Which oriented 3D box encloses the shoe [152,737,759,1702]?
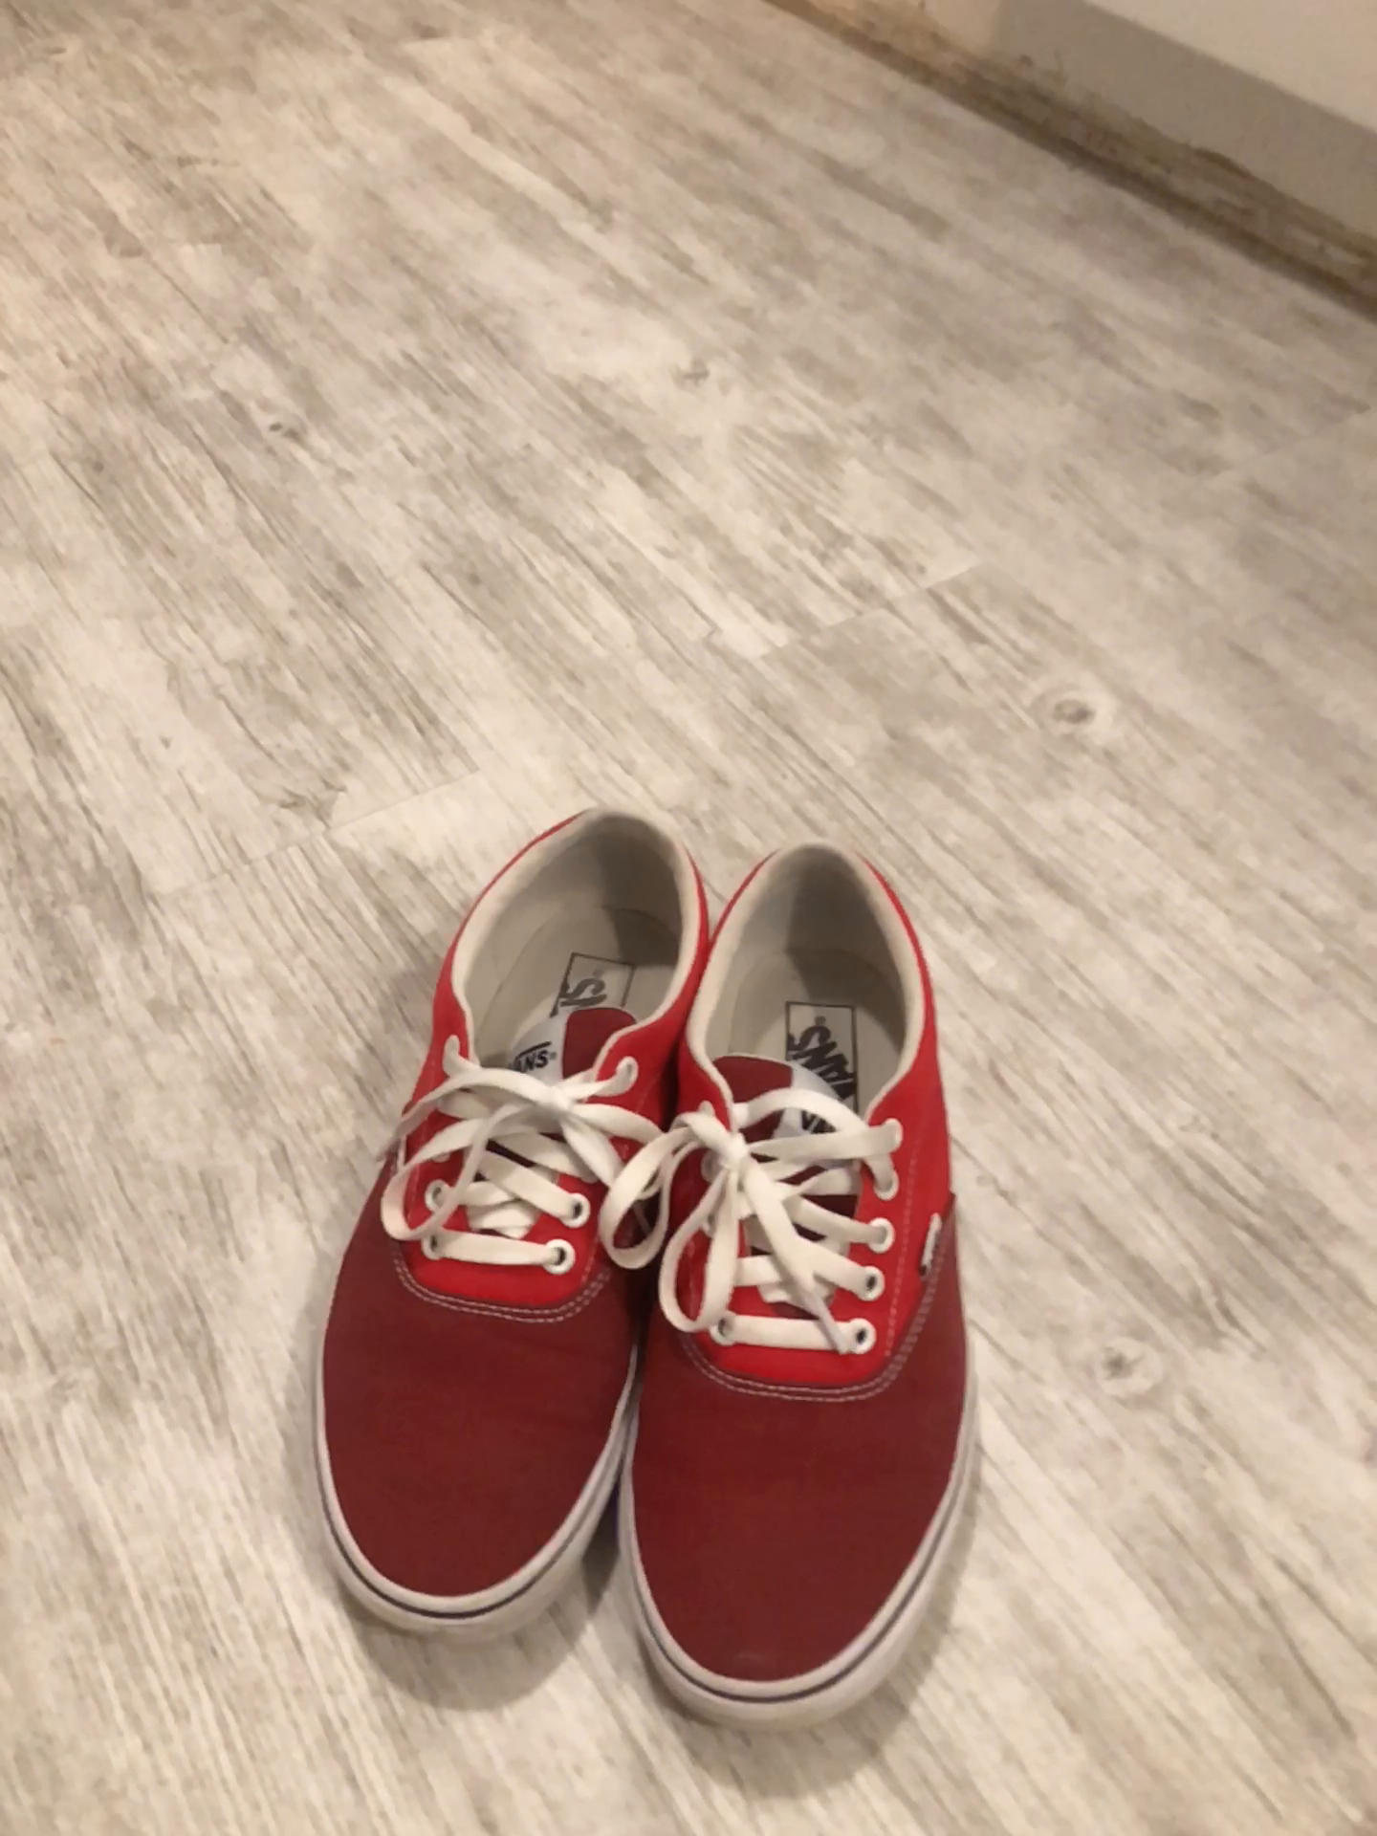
[{"bbox_3d":[-0.051,0.075,0.468,0.110,0.093,0.272,7,49,5],"label":"shoe"}]

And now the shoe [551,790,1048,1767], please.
[{"bbox_3d":[0.037,0.090,0.453,0.110,0.088,0.266,5,49,3],"label":"shoe"}]
